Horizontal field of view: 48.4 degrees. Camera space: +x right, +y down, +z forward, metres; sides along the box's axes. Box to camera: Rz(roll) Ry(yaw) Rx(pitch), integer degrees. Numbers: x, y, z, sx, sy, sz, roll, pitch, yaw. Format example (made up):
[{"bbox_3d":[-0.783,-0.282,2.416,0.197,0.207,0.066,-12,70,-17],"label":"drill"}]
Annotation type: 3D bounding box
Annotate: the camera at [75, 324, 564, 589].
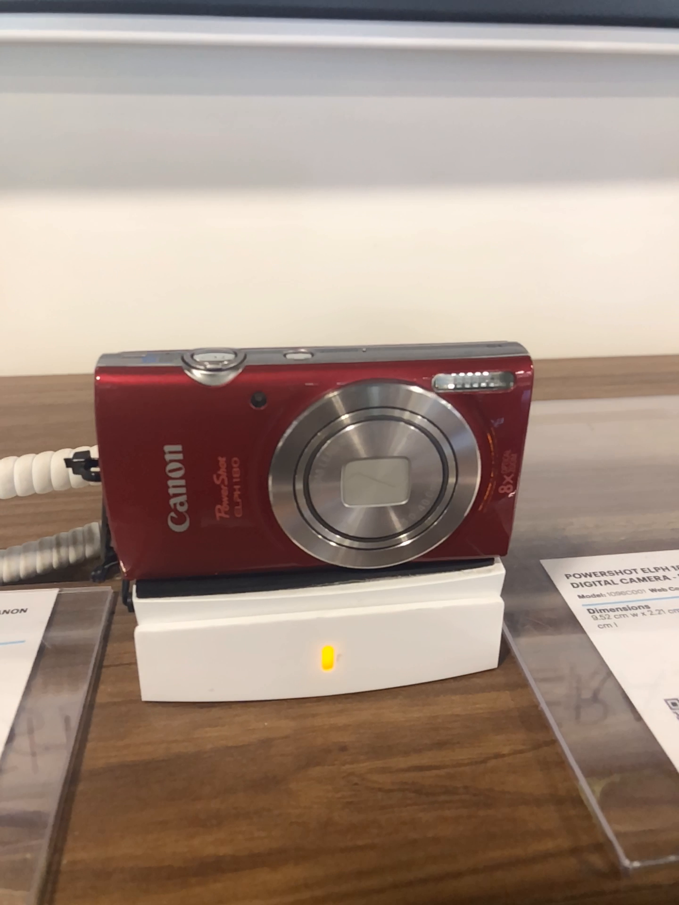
[{"bbox_3d":[-0.004,0.000,0.172,0.097,0.051,0.023,-3,31,-6],"label":"camera"}]
